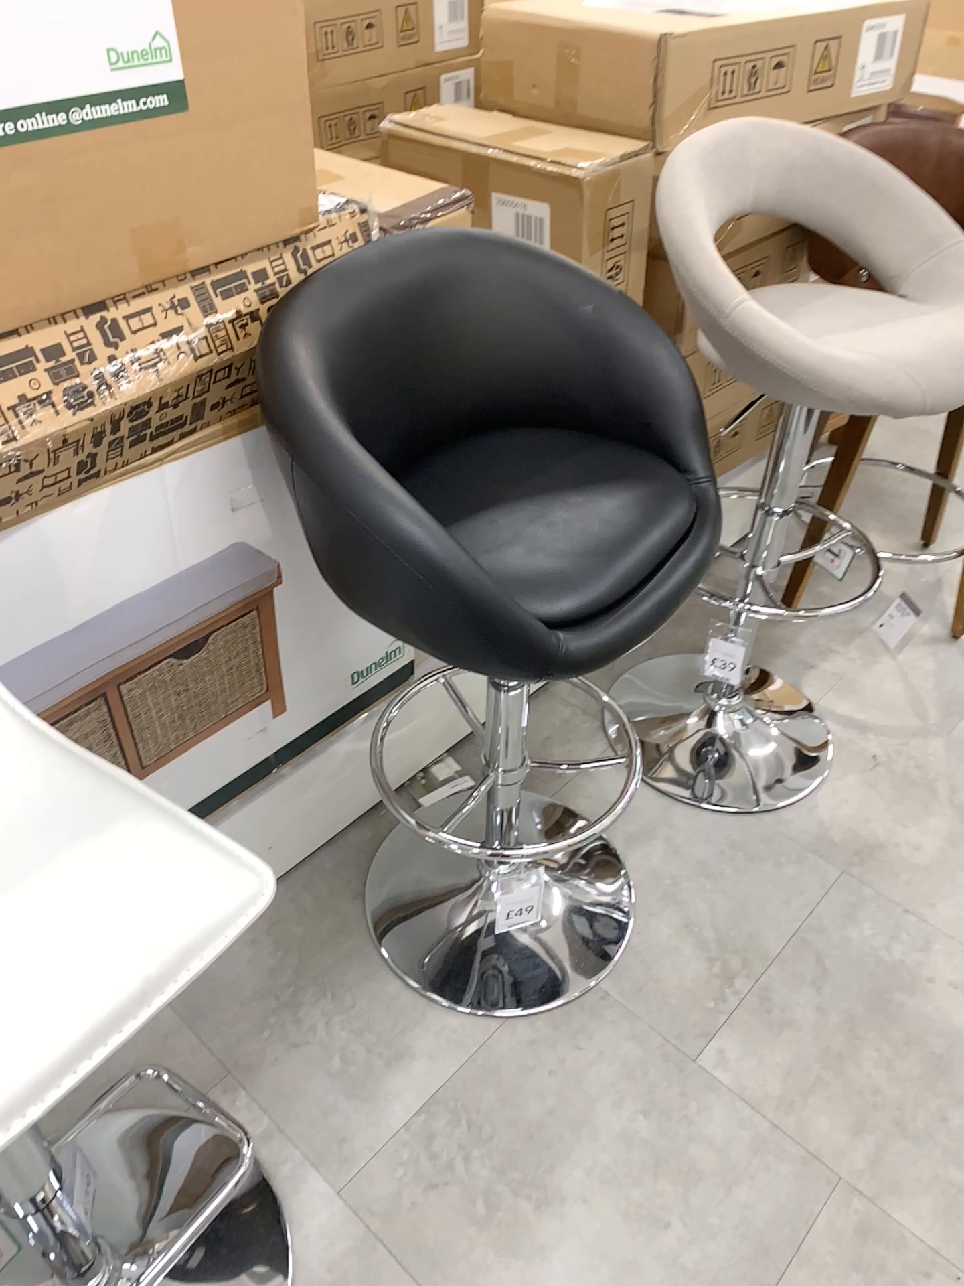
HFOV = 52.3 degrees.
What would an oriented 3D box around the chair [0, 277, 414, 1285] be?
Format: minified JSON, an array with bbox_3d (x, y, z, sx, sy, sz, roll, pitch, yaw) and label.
[{"bbox_3d":[-0.372,0.304,0.759,0.441,0.947,0.447,24,44,25],"label":"chair"}]

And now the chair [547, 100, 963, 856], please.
[{"bbox_3d":[0.427,-0.226,1.457,0.431,0.918,0.447,24,44,25],"label":"chair"}]

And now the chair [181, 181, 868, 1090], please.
[{"bbox_3d":[0.045,0.000,1.175,0.441,0.868,0.477,26,45,27],"label":"chair"}]
